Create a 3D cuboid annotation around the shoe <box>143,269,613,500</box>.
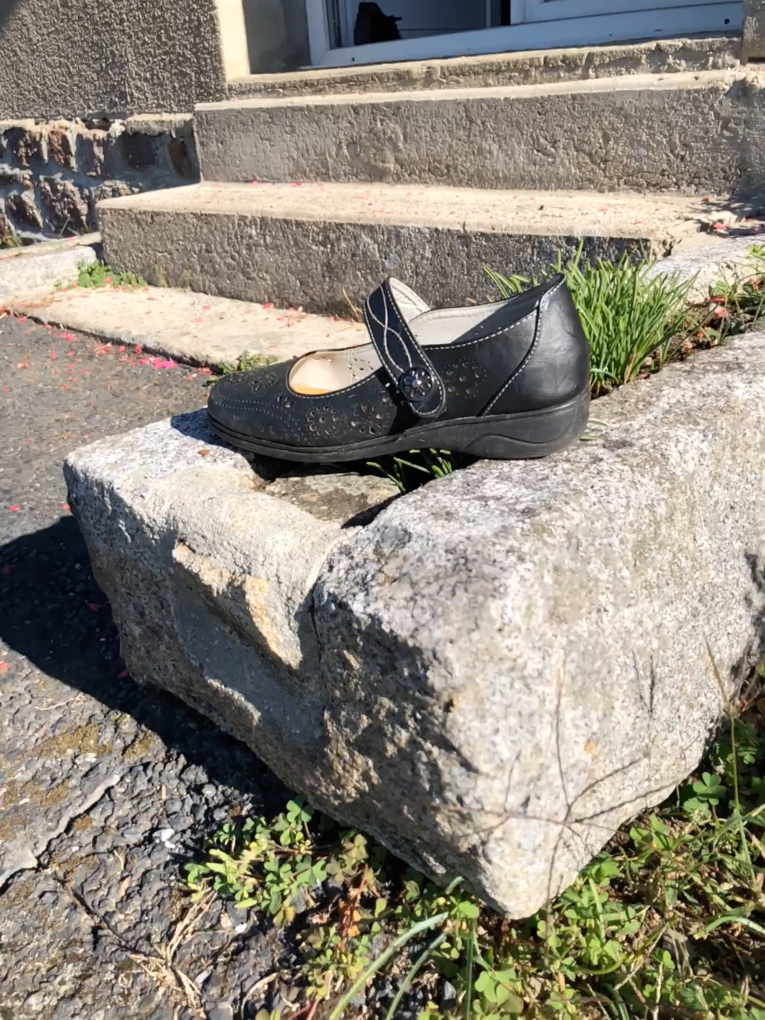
[{"bbox_3d":[0.002,-0.083,0.501,0.250,0.099,0.101,5,27,18],"label":"shoe"}]
